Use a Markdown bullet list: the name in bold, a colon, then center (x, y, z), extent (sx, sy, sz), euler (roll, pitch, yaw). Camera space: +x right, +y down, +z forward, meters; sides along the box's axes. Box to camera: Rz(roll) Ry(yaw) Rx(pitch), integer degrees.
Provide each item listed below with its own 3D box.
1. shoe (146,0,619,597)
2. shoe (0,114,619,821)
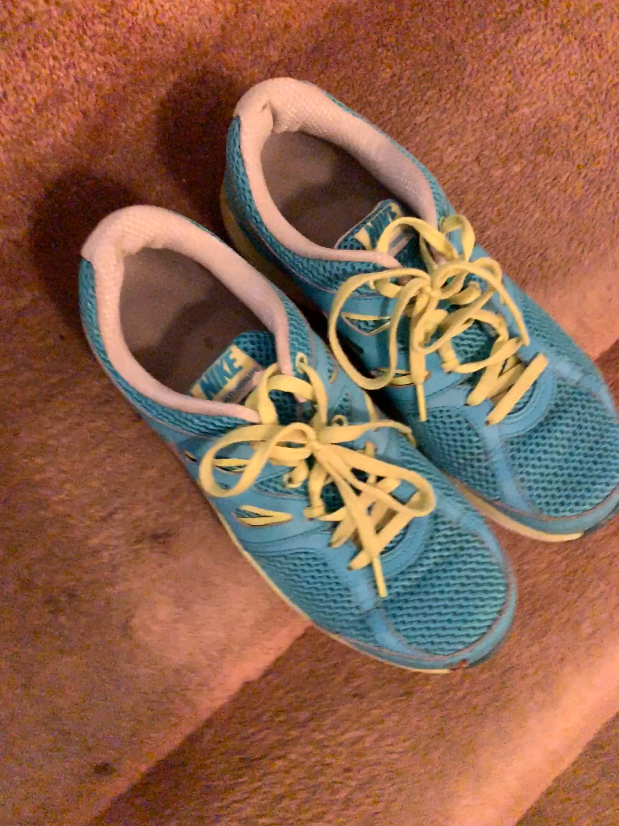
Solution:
- **shoe**: center (0.063, -0.059, 0.313), extent (0.110, 0.100, 0.280), euler (-41, 78, -9)
- **shoe**: center (-0.014, 0.013, 0.297), extent (0.110, 0.100, 0.280), euler (-44, 78, -9)
